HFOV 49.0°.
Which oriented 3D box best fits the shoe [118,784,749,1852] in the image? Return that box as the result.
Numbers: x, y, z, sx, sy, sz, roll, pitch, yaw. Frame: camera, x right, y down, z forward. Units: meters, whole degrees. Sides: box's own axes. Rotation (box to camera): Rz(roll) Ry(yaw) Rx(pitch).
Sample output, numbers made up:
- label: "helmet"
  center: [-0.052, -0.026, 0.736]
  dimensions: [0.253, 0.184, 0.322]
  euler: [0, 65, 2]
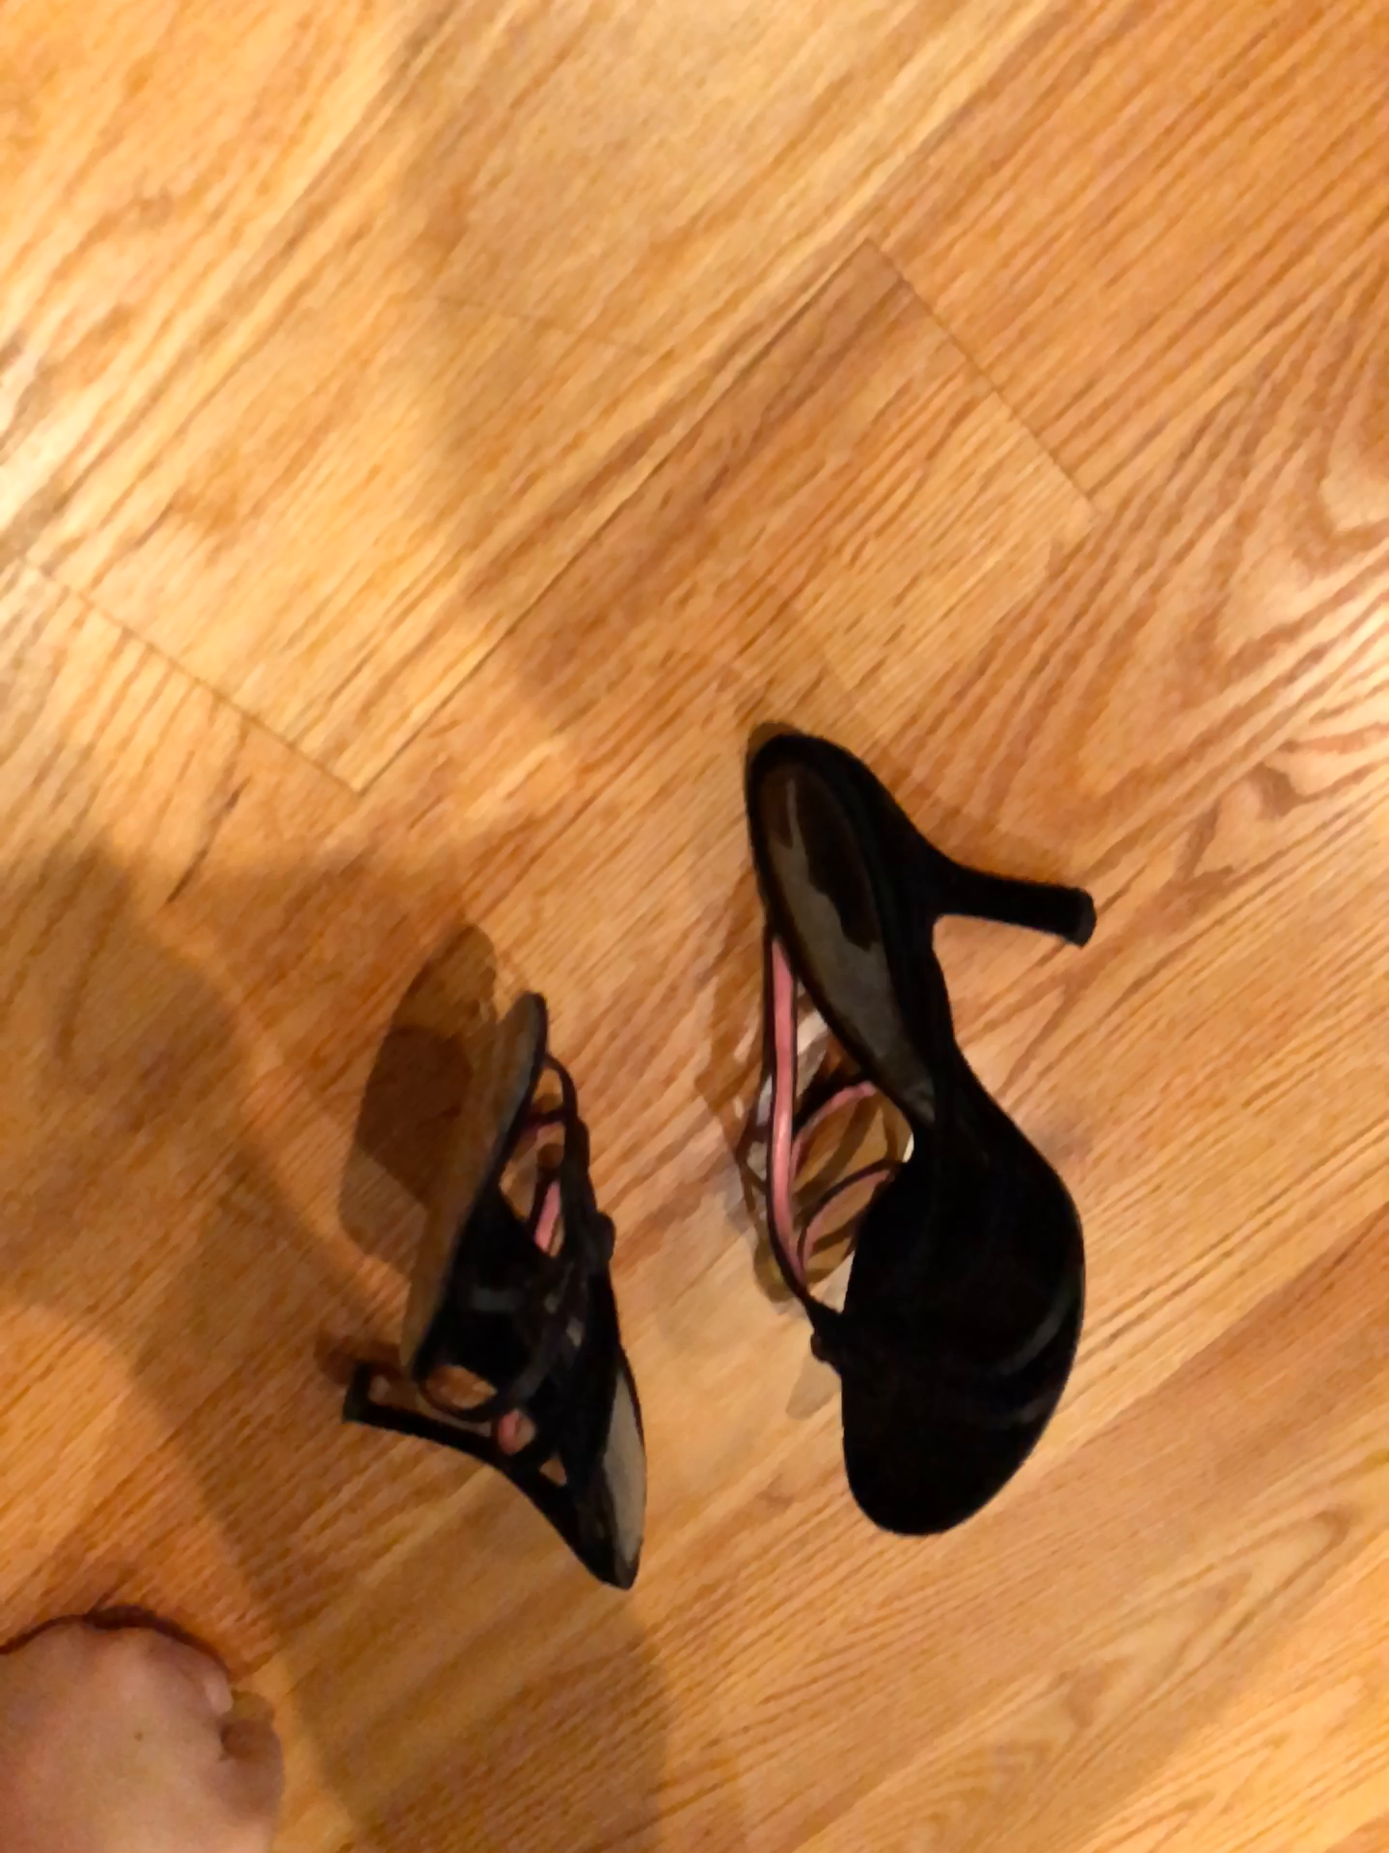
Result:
- label: "shoe"
  center: [-0.051, 0.102, 0.351]
  dimensions: [0.082, 0.104, 0.236]
  euler: [-12, 123, -8]

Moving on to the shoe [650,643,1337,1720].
- label: "shoe"
  center: [0.063, 0.063, 0.356]
  dimensions: [0.102, 0.104, 0.216]
  euler: [-12, 123, -6]
